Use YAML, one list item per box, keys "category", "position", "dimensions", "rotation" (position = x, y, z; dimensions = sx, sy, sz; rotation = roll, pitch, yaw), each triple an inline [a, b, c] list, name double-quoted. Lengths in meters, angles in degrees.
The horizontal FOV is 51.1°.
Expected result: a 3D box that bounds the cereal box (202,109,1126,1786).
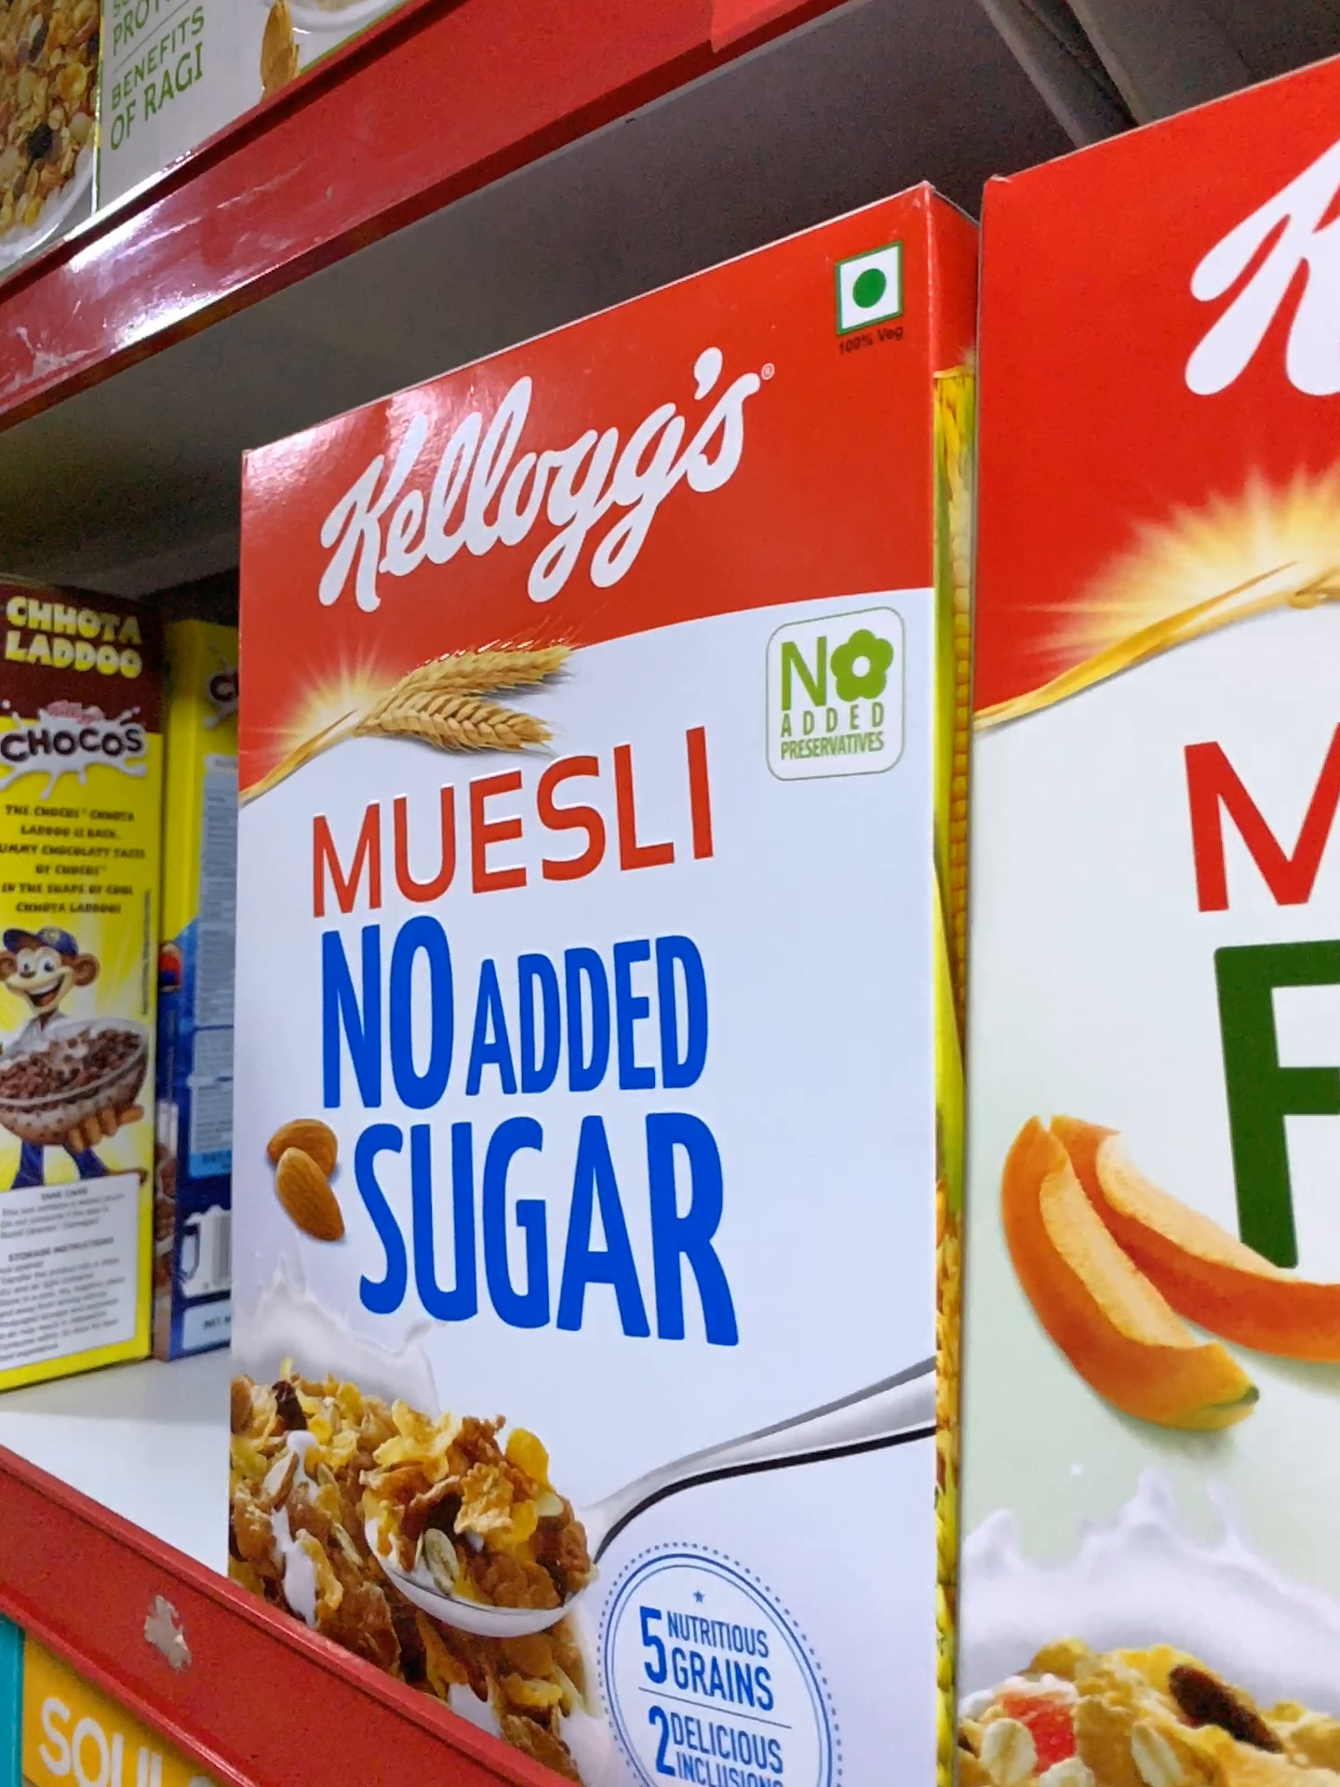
- category: "cereal box"
  position: [-0.014, 0.018, 0.258]
  dimensions: [0.180, 0.240, 0.050]
  rotation: [-1, -3, 42]
